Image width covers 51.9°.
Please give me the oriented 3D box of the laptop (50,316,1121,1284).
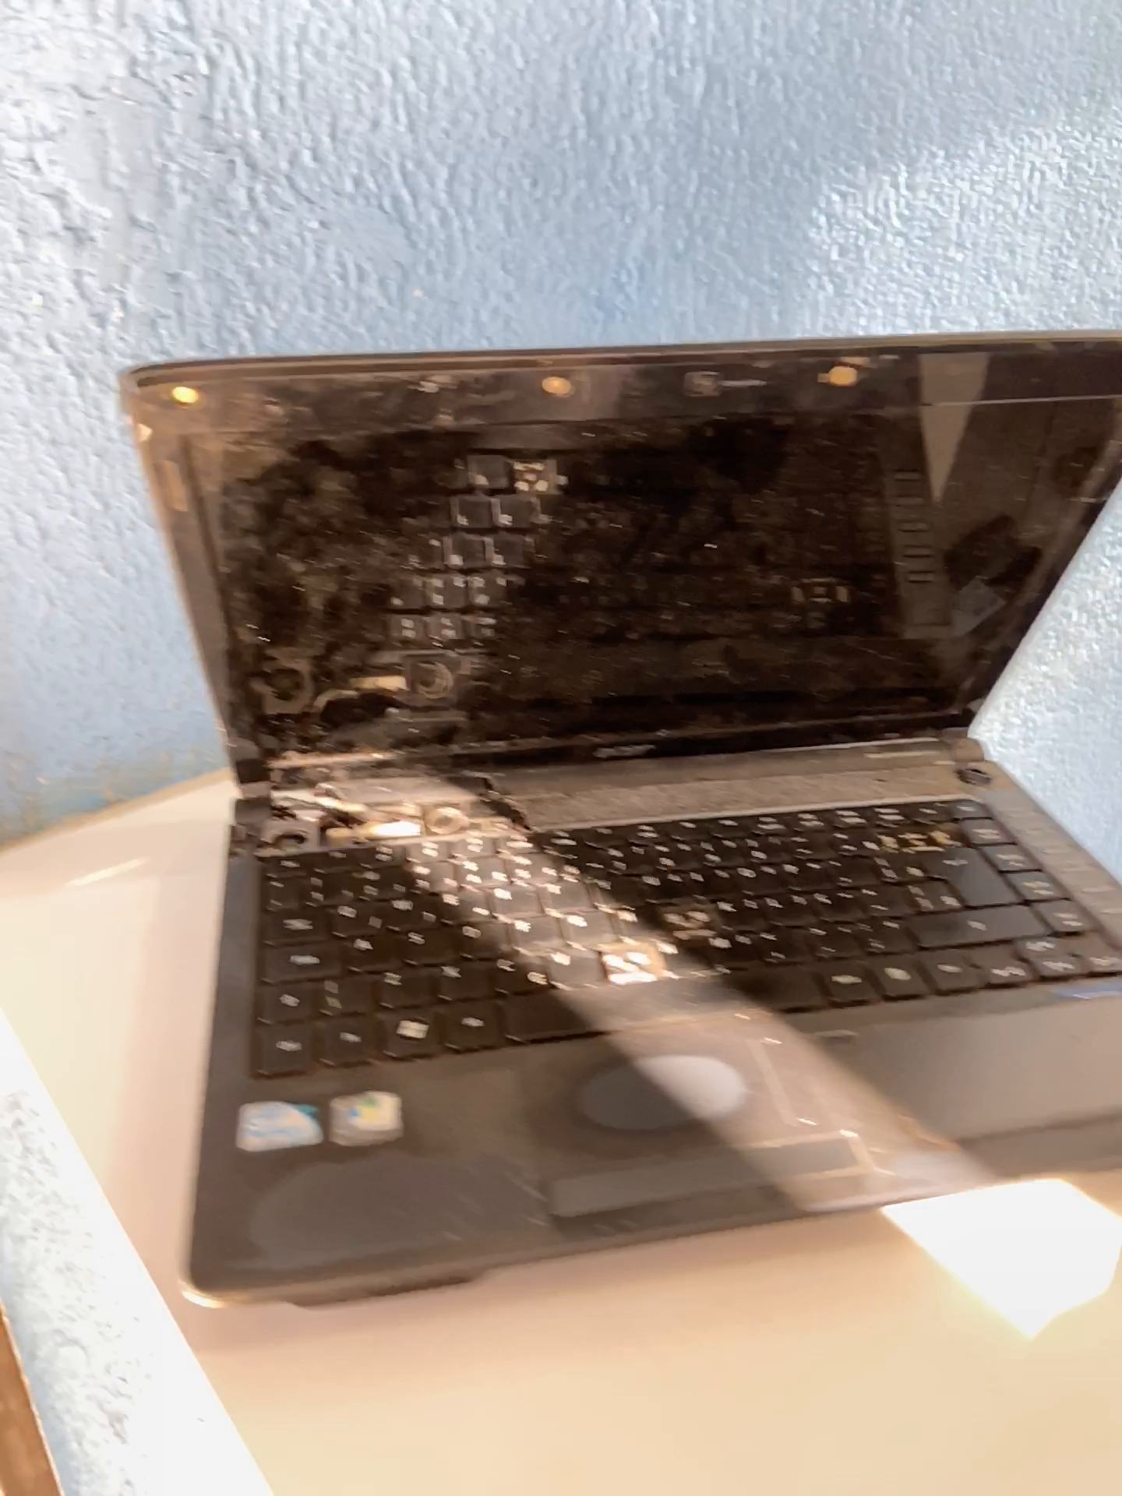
[{"bbox_3d":[0.051,-0.018,0.366,0.334,0.182,0.229,-5,29,-10],"label":"laptop"}]
